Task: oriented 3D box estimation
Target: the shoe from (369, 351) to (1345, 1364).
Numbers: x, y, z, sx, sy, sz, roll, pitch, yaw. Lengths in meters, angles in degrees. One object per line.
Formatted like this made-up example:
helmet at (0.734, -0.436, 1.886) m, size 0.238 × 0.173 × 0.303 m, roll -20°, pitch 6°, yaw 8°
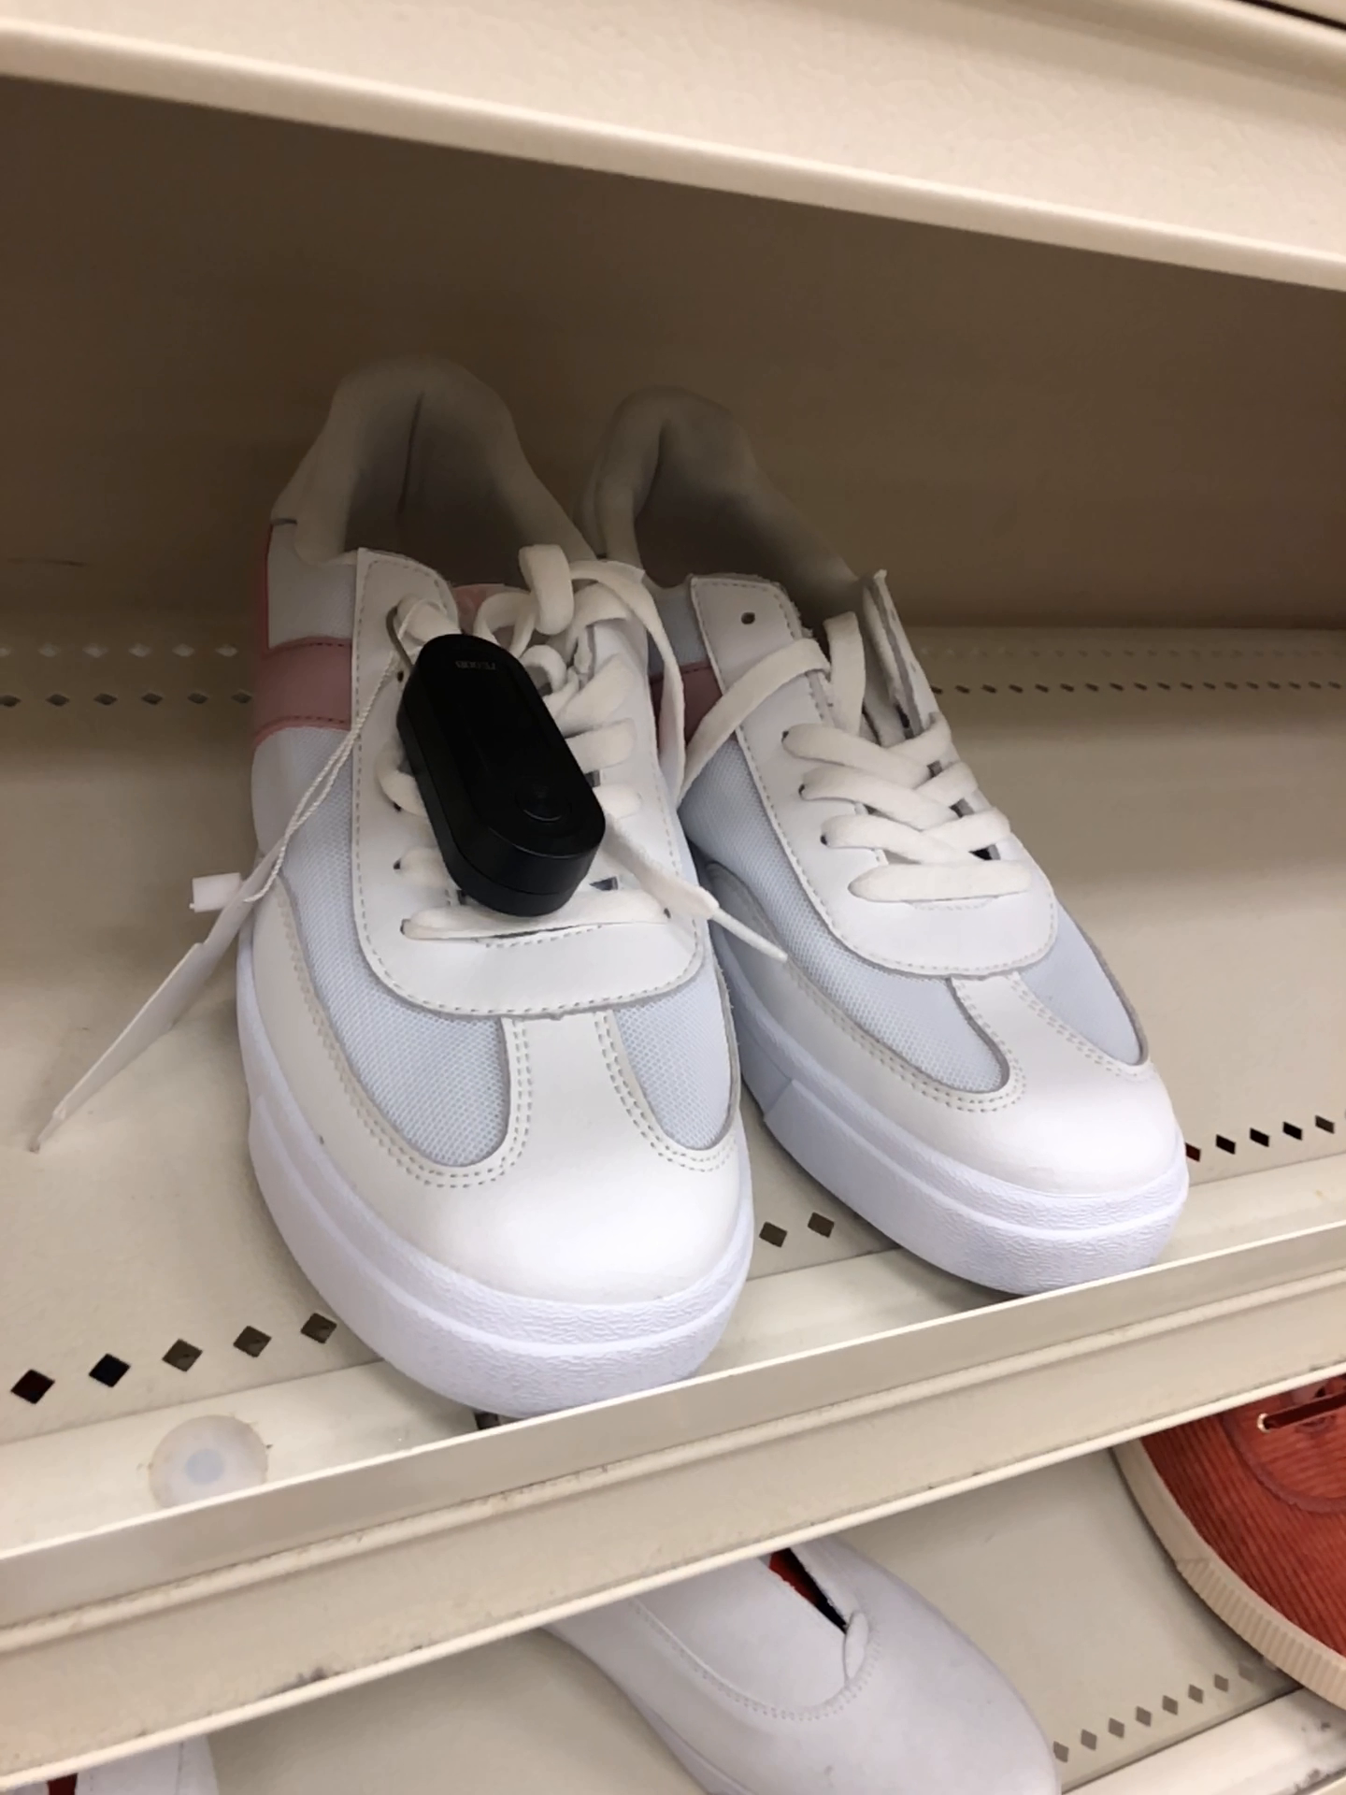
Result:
shoe at (0.031, -0.059, 0.429) m, size 0.120 × 0.119 × 0.392 m, roll -5°, pitch 28°, yaw -28°

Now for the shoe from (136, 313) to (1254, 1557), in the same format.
shoe at (-0.055, -0.051, 0.369) m, size 0.120 × 0.119 × 0.392 m, roll -2°, pitch 27°, yaw -23°
